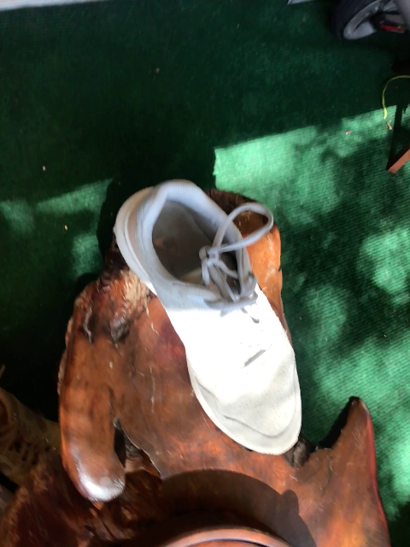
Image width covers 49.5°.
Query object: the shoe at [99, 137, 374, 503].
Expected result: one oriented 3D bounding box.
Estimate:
[{"bbox_3d":[0.018,0.035,0.385,0.103,0.091,0.263,-26,87,-21],"label":"shoe"}]
